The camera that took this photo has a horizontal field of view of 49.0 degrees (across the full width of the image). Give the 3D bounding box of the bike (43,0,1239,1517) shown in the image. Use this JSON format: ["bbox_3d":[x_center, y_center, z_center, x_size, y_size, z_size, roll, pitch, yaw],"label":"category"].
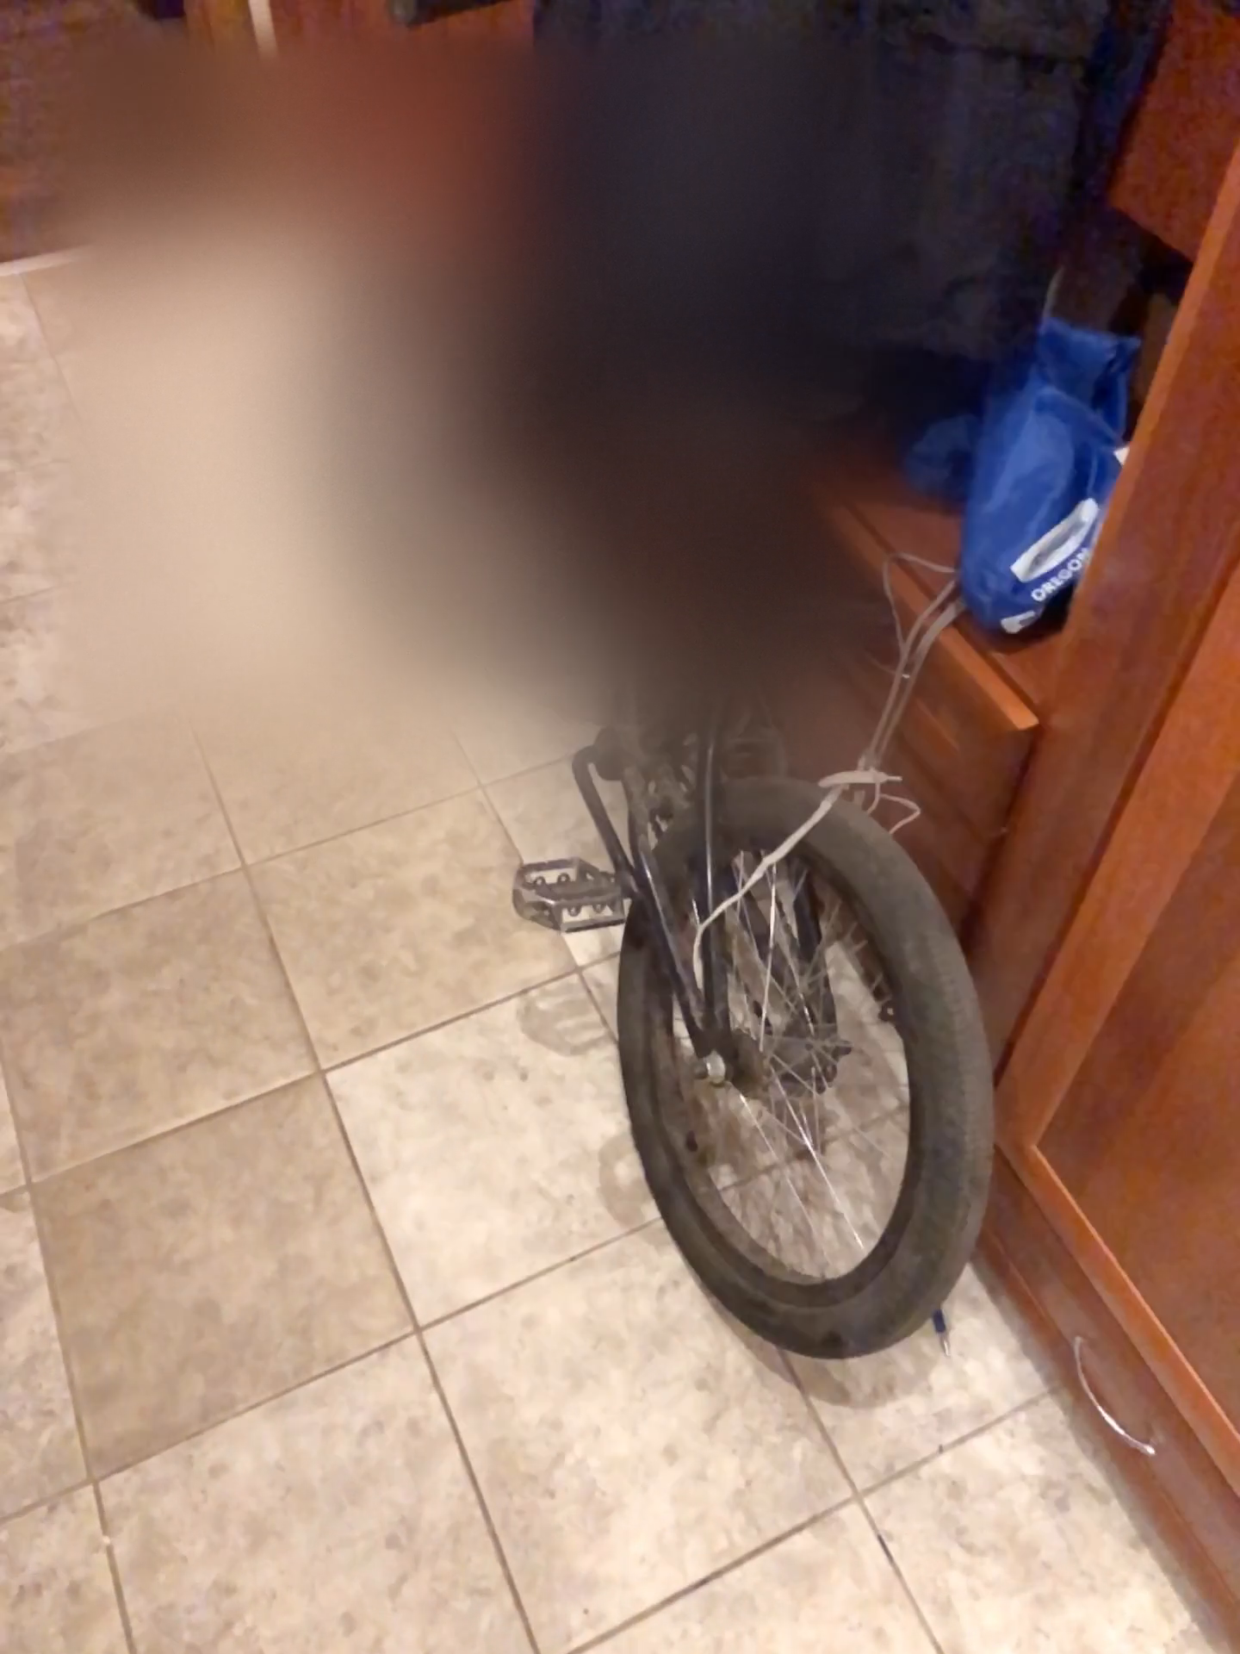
[{"bbox_3d":[0.000,-0.264,1.239,0.526,0.854,1.358,-18,55,-14],"label":"bike"}]
